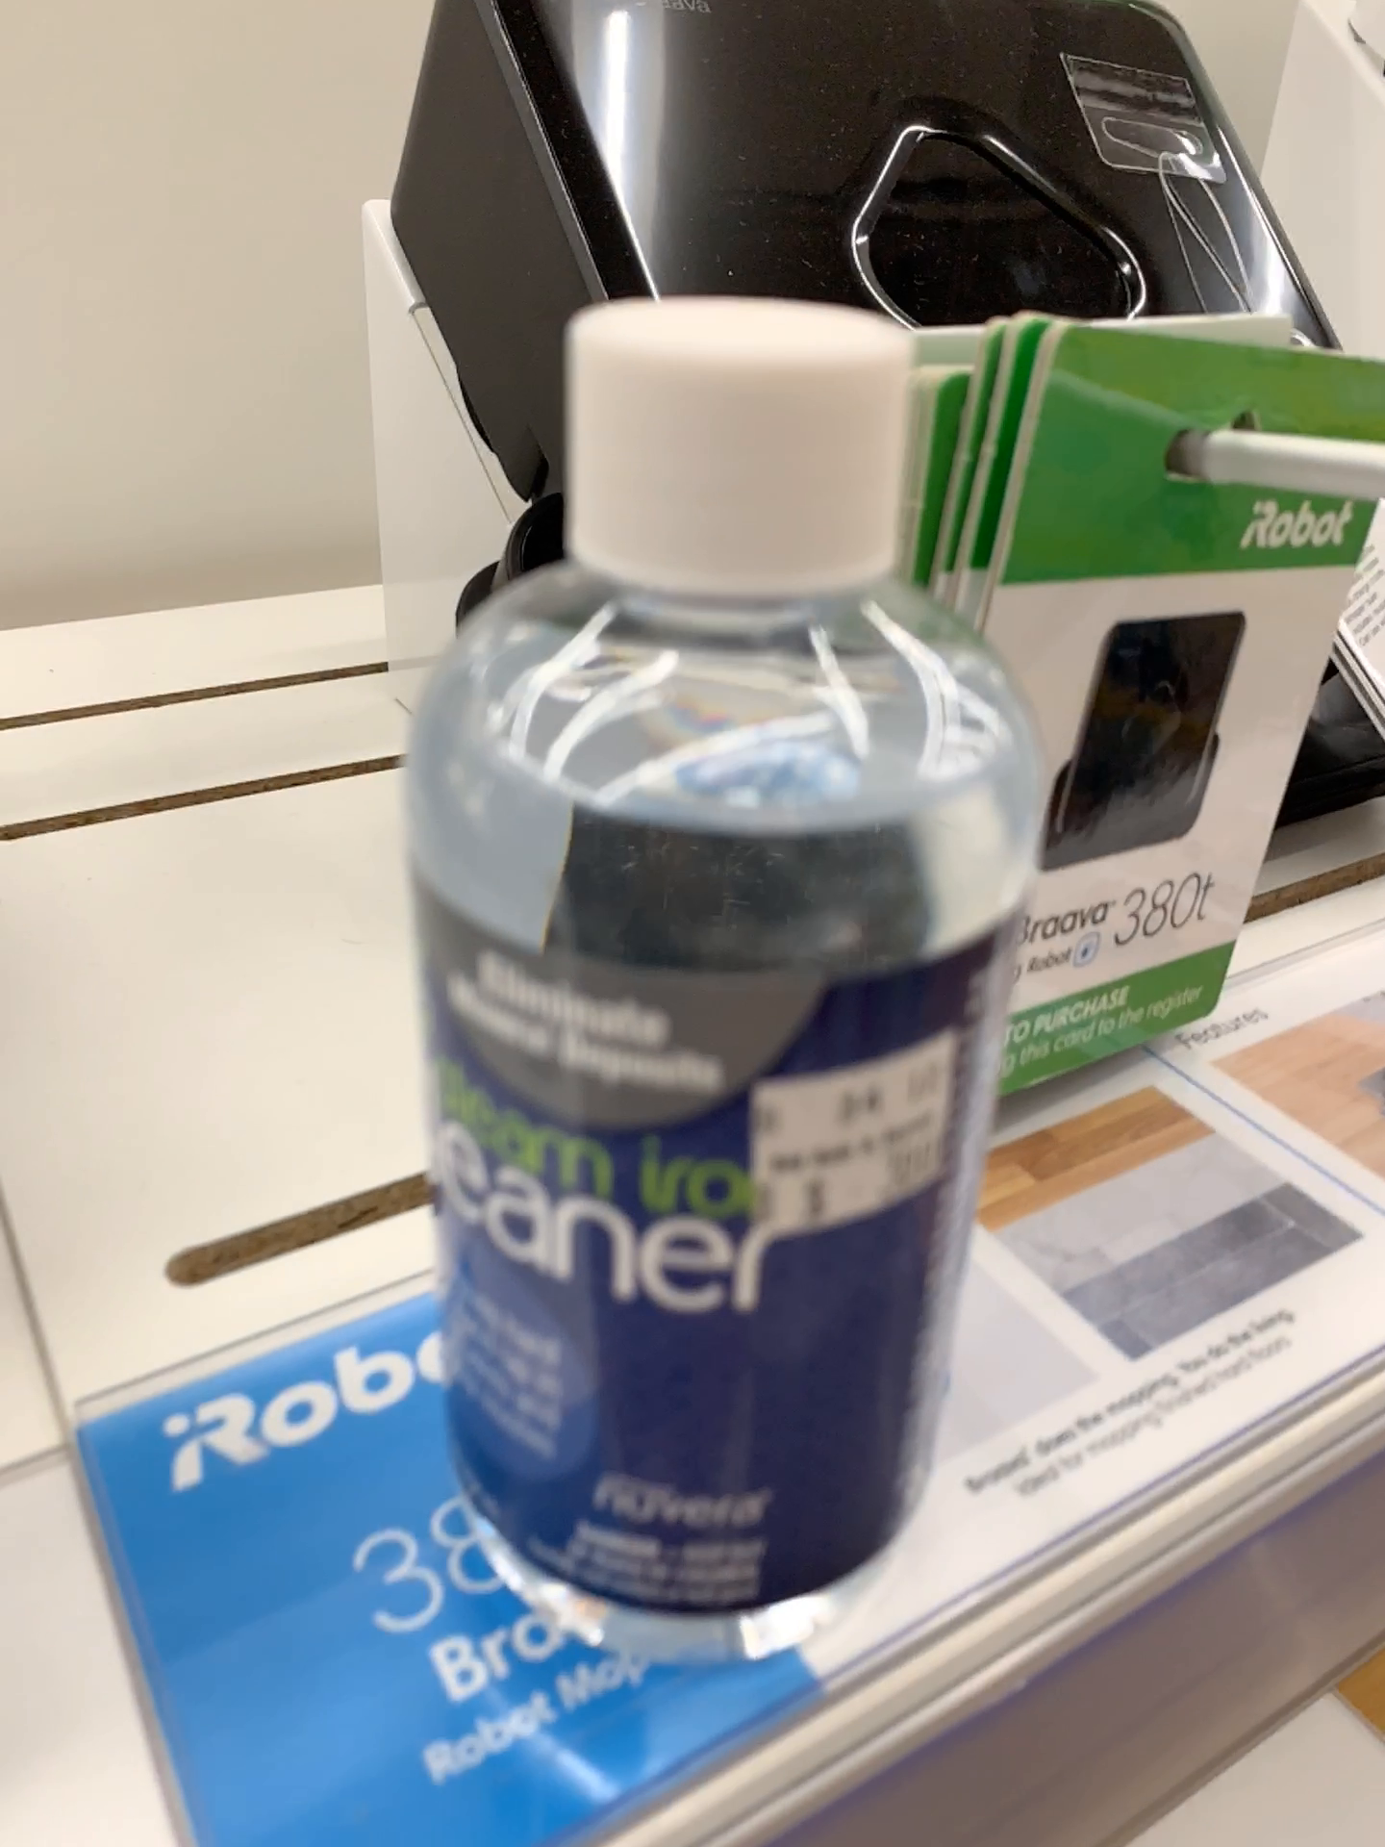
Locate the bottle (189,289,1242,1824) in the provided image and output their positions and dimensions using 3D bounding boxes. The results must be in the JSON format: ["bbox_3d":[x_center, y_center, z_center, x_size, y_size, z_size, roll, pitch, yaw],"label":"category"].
[{"bbox_3d":[0.001,0.012,0.145,0.060,0.129,0.060,3,30,-2],"label":"bottle"}]
